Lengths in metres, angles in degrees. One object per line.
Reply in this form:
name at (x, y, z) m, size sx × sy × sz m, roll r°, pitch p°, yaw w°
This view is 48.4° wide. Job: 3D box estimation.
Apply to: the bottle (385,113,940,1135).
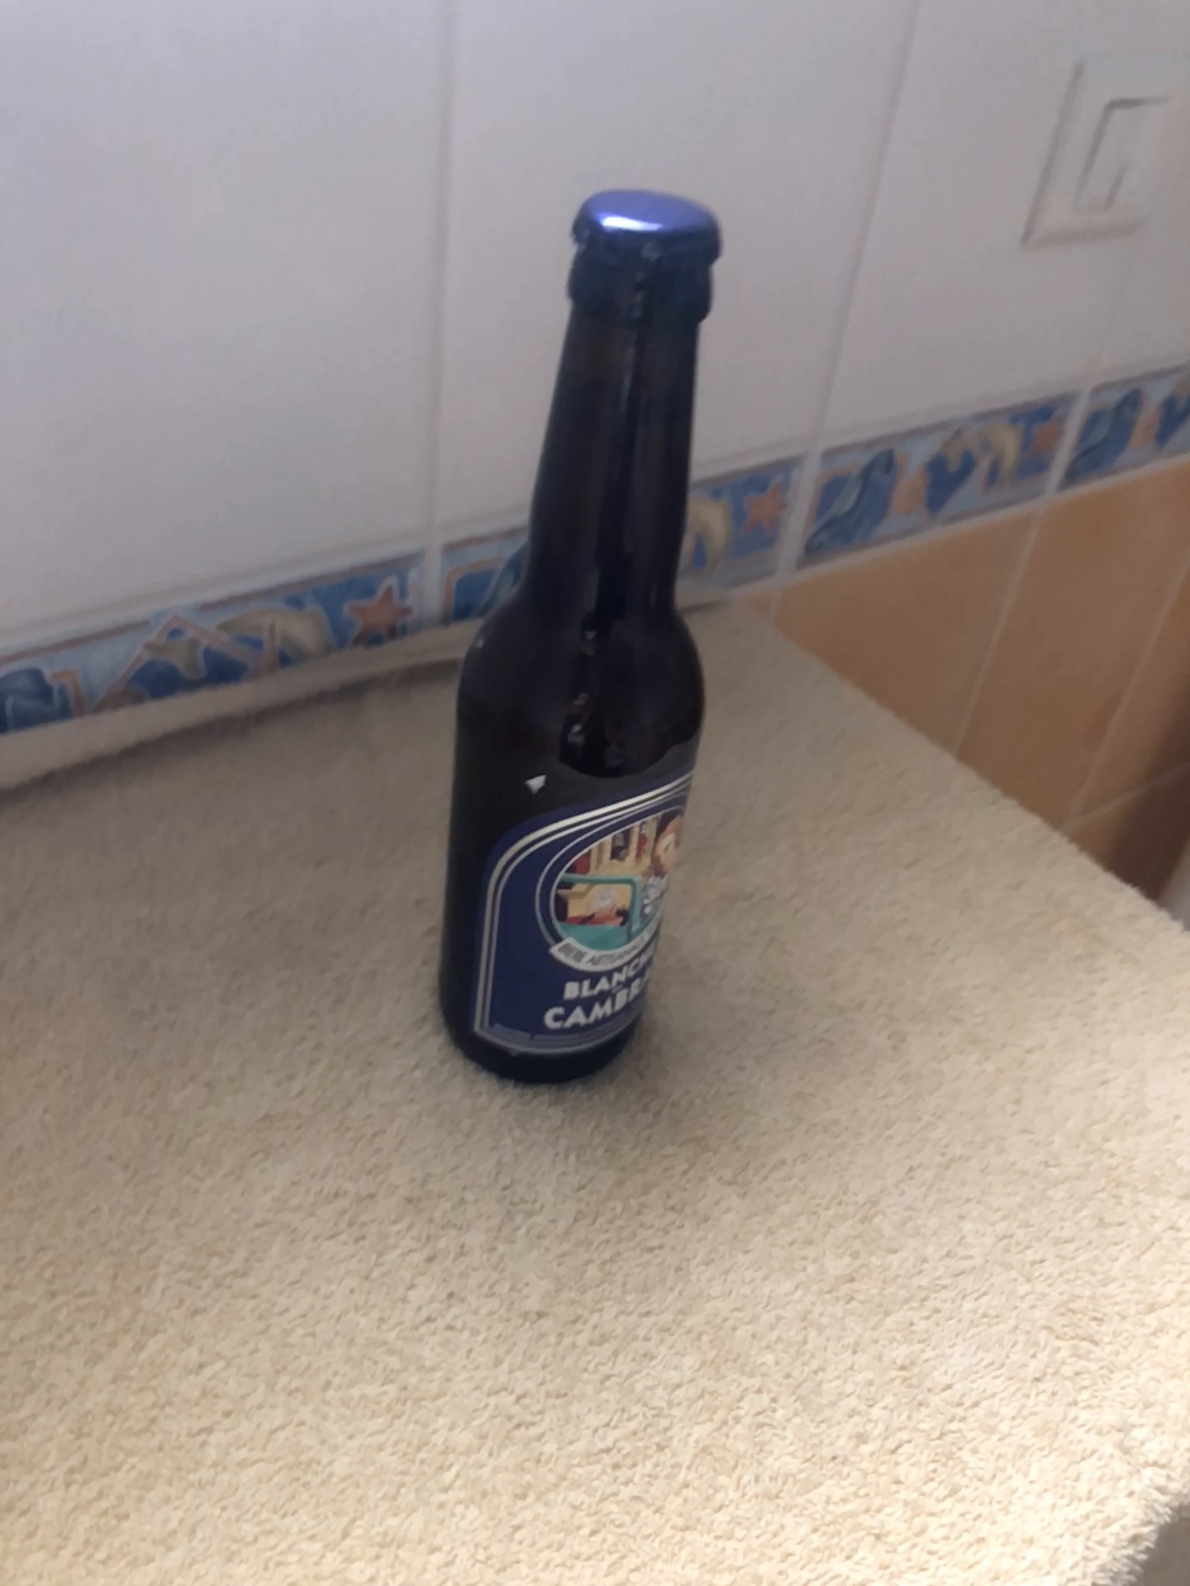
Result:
bottle at (0.001, -0.028, 0.308) m, size 0.070 × 0.218 × 0.070 m, roll 5°, pitch 39°, yaw -4°
